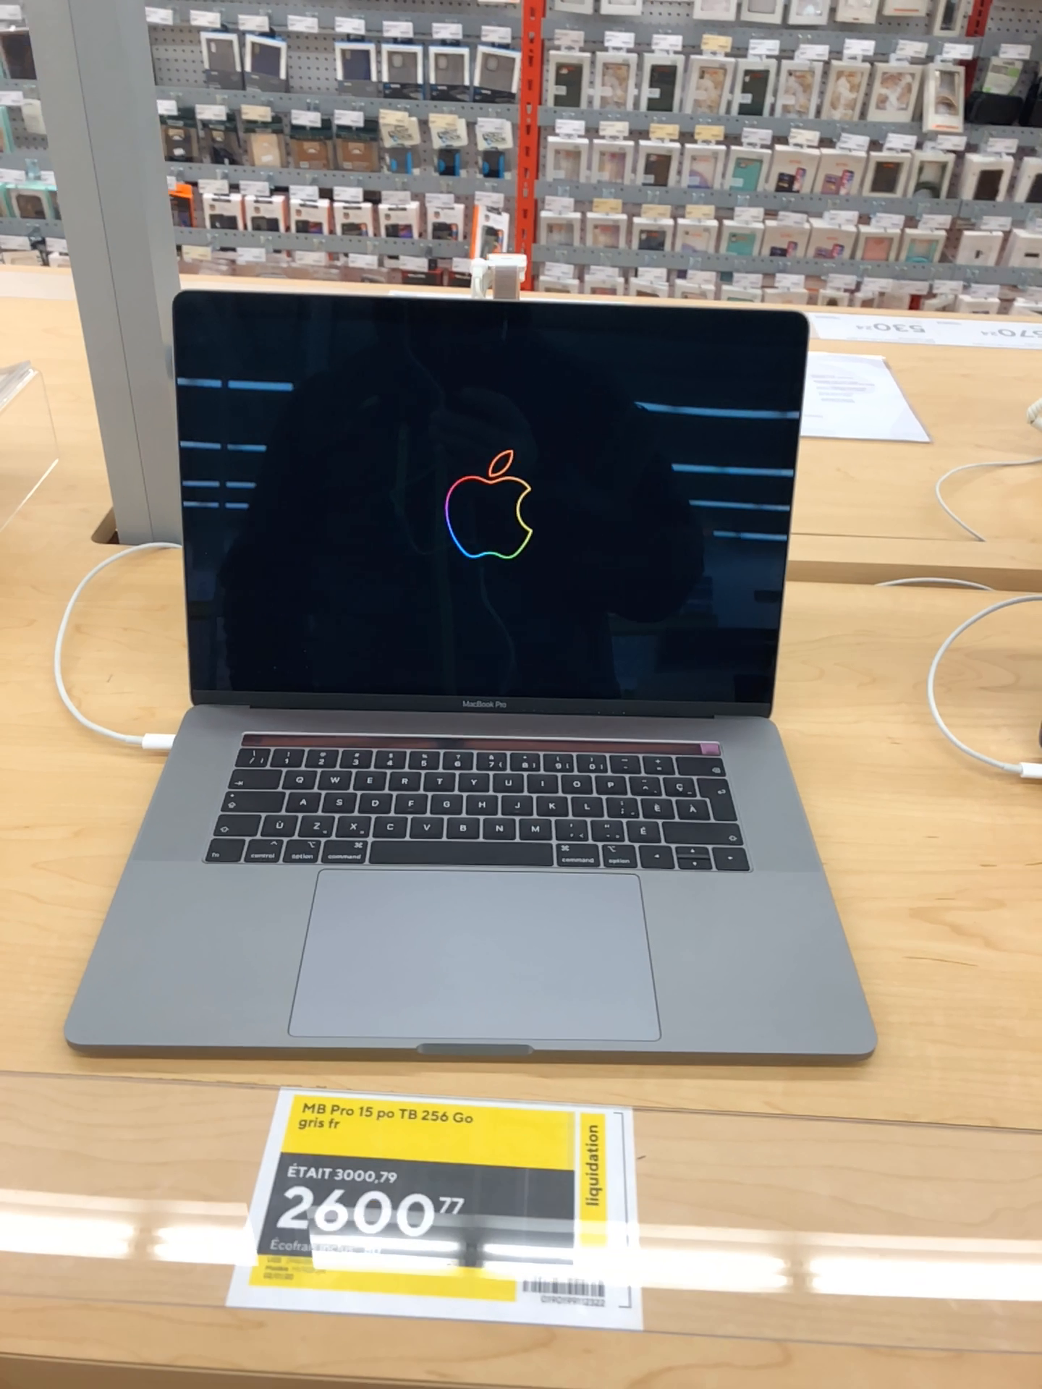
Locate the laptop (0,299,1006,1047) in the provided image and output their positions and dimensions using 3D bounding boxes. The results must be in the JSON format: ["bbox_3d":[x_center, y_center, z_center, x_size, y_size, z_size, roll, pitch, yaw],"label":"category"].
[{"bbox_3d":[-0.014,-0.028,0.538,0.329,0.212,0.299,1,35,-3],"label":"laptop"}]
